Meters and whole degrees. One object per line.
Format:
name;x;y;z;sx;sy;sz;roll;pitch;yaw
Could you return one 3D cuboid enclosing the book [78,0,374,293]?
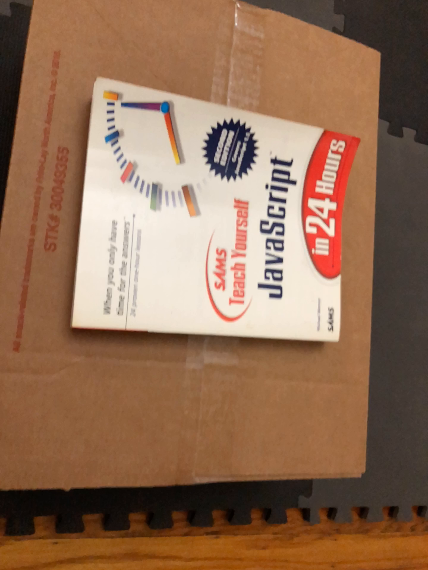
book;0.022;-0.104;0.394;0.240;0.030;0.200;5;83;-19
